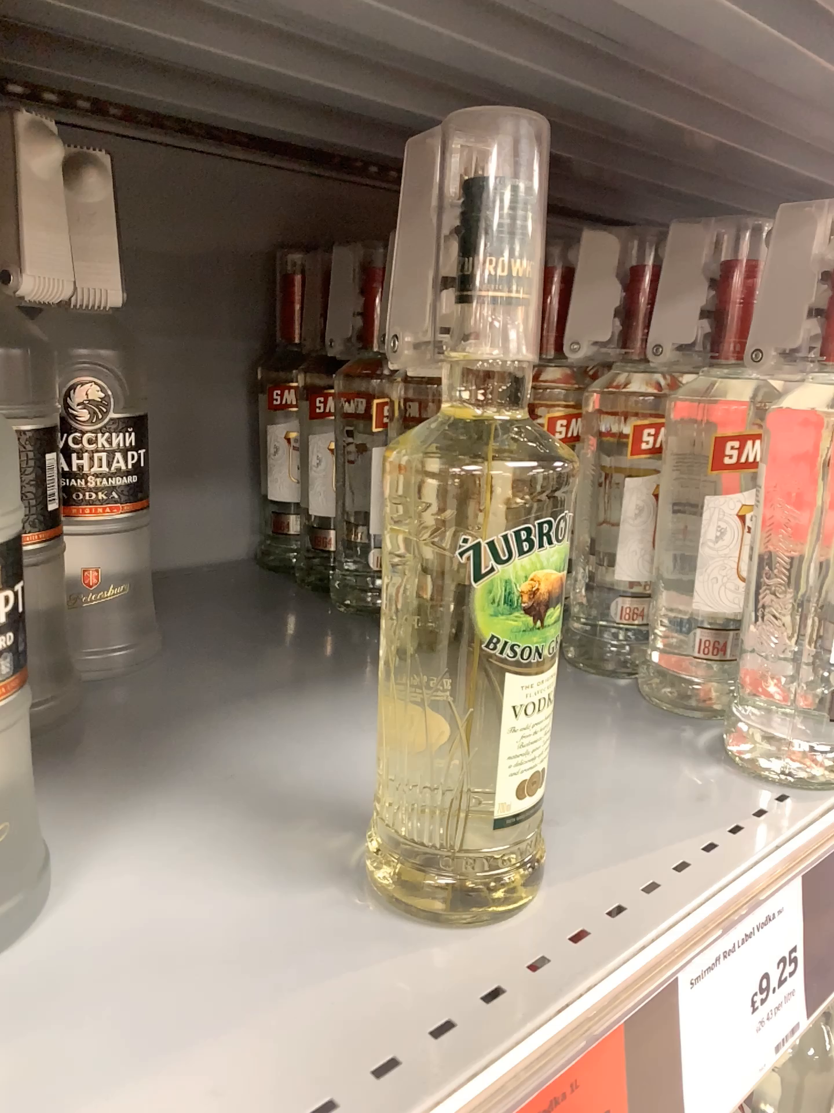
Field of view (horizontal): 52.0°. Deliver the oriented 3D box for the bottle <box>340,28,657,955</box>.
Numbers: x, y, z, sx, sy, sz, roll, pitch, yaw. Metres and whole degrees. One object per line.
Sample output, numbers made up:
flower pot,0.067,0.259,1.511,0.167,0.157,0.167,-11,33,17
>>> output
bottle,0.026,-0.016,0.328,0.076,0.303,0.069,-9,17,-43
